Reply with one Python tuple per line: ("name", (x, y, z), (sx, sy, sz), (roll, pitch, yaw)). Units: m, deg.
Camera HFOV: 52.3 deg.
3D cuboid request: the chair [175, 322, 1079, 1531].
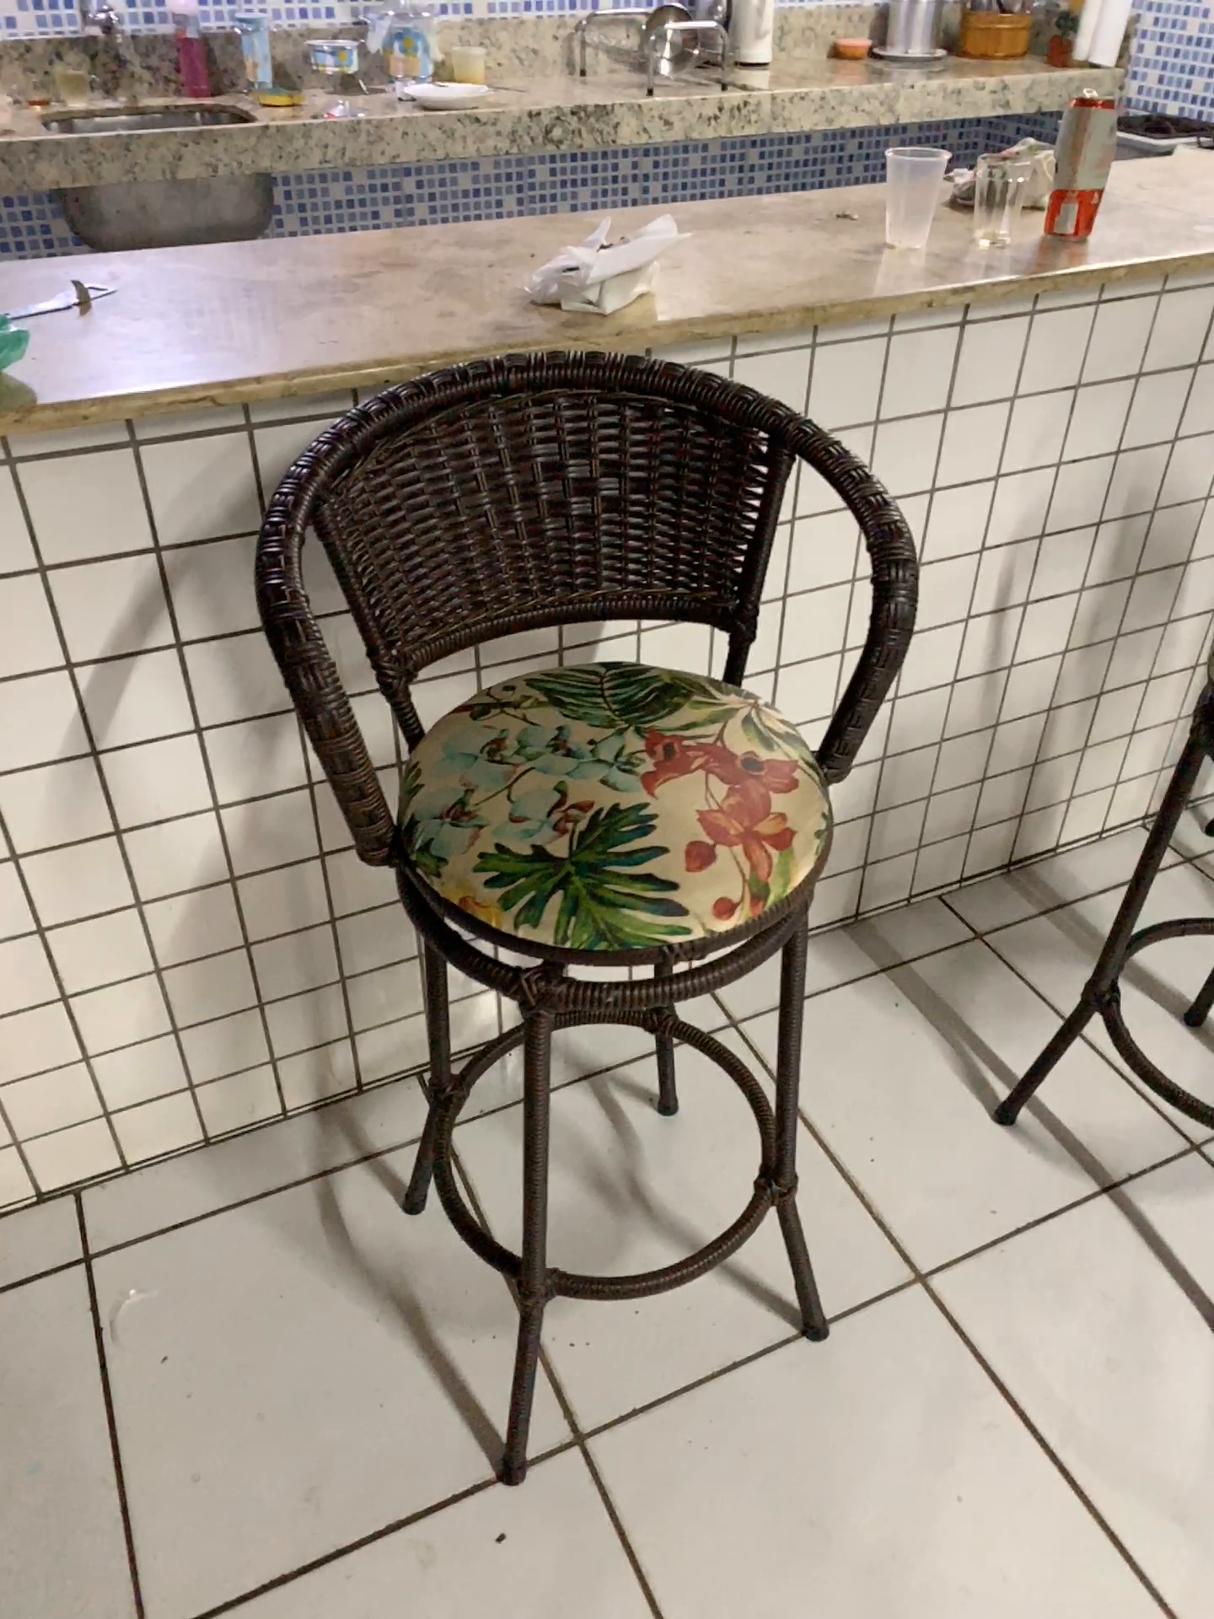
("chair", (-0.026, 0.120, 1.225), (0.501, 0.975, 0.532), (-16, 39, -21))
